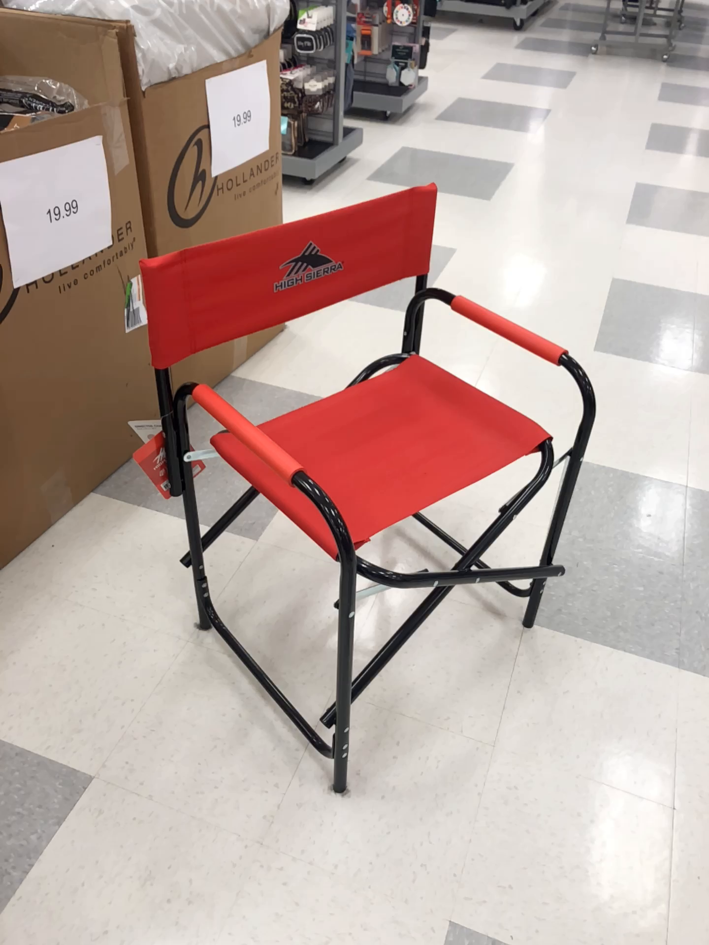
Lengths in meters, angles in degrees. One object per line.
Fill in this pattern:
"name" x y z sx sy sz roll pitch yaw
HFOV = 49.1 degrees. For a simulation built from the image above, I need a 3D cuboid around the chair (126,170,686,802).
"chair" 0.062 -0.009 1.282 0.595 0.729 0.490 -27 47 -33
